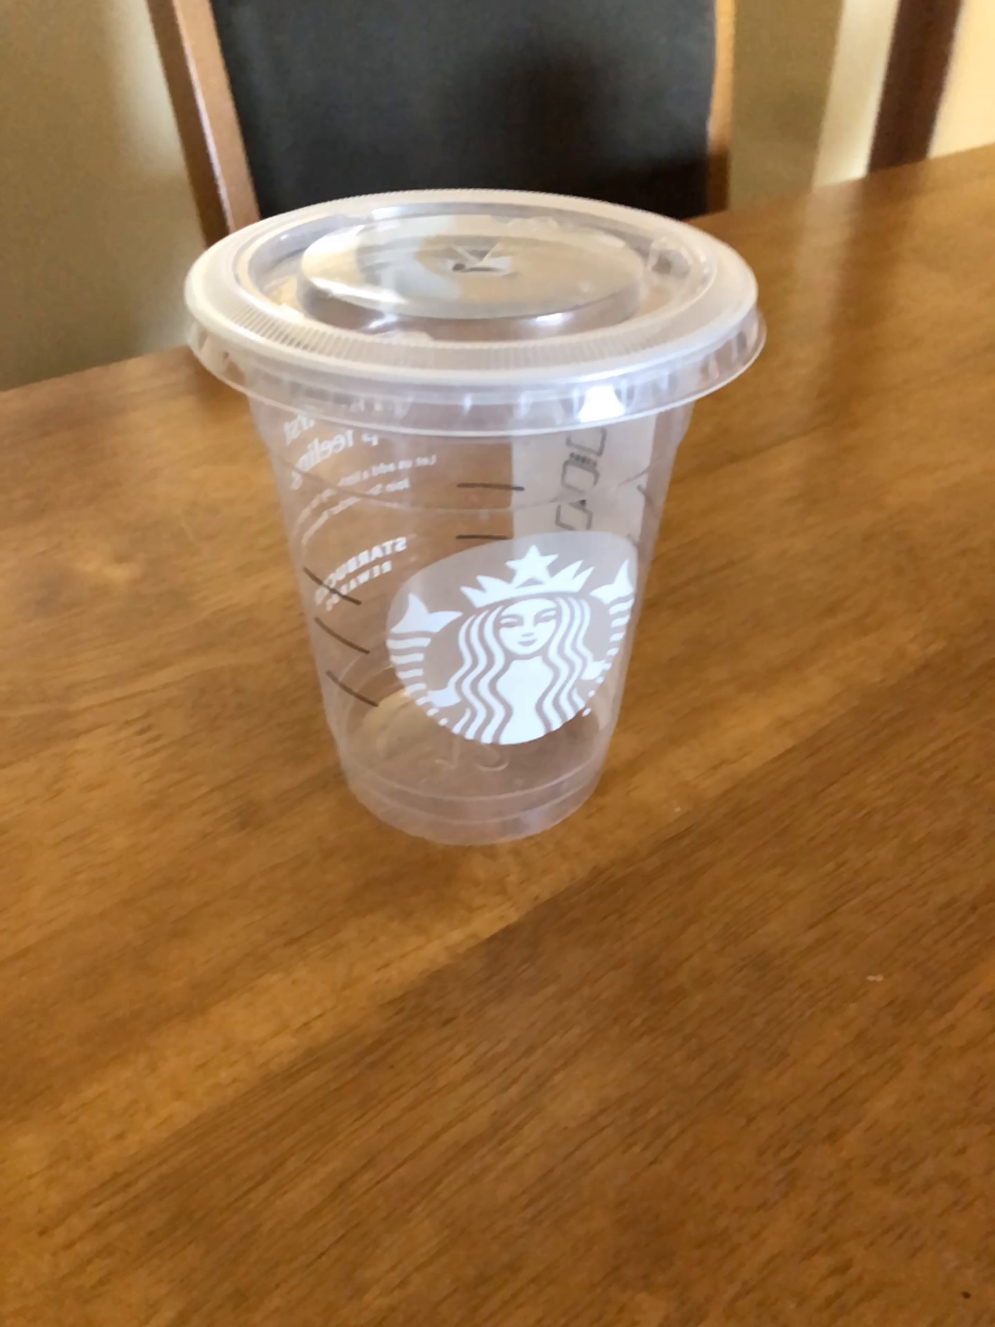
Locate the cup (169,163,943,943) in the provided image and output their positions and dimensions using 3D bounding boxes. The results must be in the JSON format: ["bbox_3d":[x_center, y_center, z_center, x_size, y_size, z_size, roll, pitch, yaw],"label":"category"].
[{"bbox_3d":[0.000,-0.026,0.206,0.100,0.100,0.090,-9,38,-12],"label":"cup"}]
